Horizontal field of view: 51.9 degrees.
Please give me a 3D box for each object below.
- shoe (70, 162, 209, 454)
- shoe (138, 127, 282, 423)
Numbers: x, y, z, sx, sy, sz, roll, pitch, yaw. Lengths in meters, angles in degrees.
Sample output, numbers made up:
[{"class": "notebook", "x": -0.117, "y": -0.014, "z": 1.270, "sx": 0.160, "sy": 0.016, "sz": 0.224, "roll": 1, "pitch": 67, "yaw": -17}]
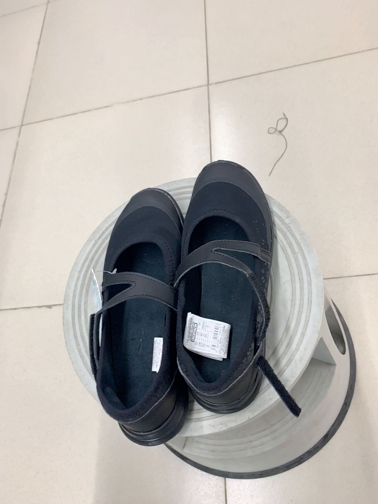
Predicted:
[{"class": "shoe", "x": -0.040, "y": 0.048, "z": 0.369, "sx": 0.090, "sy": 0.080, "sz": 0.250, "roll": -8, "pitch": 64, "yaw": 12}, {"class": "shoe", "x": 0.029, "y": 0.017, "z": 0.358, "sx": 0.100, "sy": 0.080, "sz": 0.250, "roll": -3, "pitch": 66, "yaw": 15}]
